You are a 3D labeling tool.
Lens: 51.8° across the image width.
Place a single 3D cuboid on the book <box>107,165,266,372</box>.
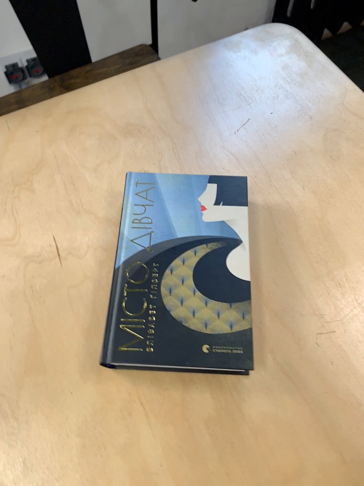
[{"bbox_3d":[0.011,0.019,0.377,0.134,0.043,0.197,3,65,3],"label":"book"}]
